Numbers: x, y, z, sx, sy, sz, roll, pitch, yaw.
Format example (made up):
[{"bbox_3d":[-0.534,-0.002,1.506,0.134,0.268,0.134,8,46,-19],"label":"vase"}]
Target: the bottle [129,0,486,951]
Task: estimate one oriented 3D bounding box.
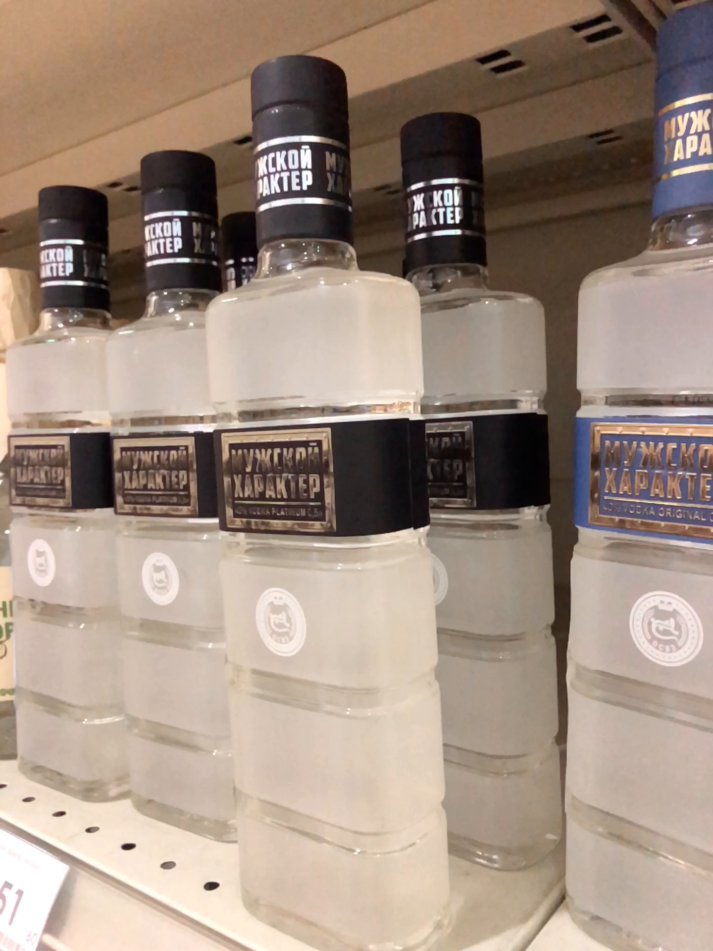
[{"bbox_3d":[-0.015,0.007,0.270,0.090,0.290,0.060,1,5,37],"label":"bottle"}]
